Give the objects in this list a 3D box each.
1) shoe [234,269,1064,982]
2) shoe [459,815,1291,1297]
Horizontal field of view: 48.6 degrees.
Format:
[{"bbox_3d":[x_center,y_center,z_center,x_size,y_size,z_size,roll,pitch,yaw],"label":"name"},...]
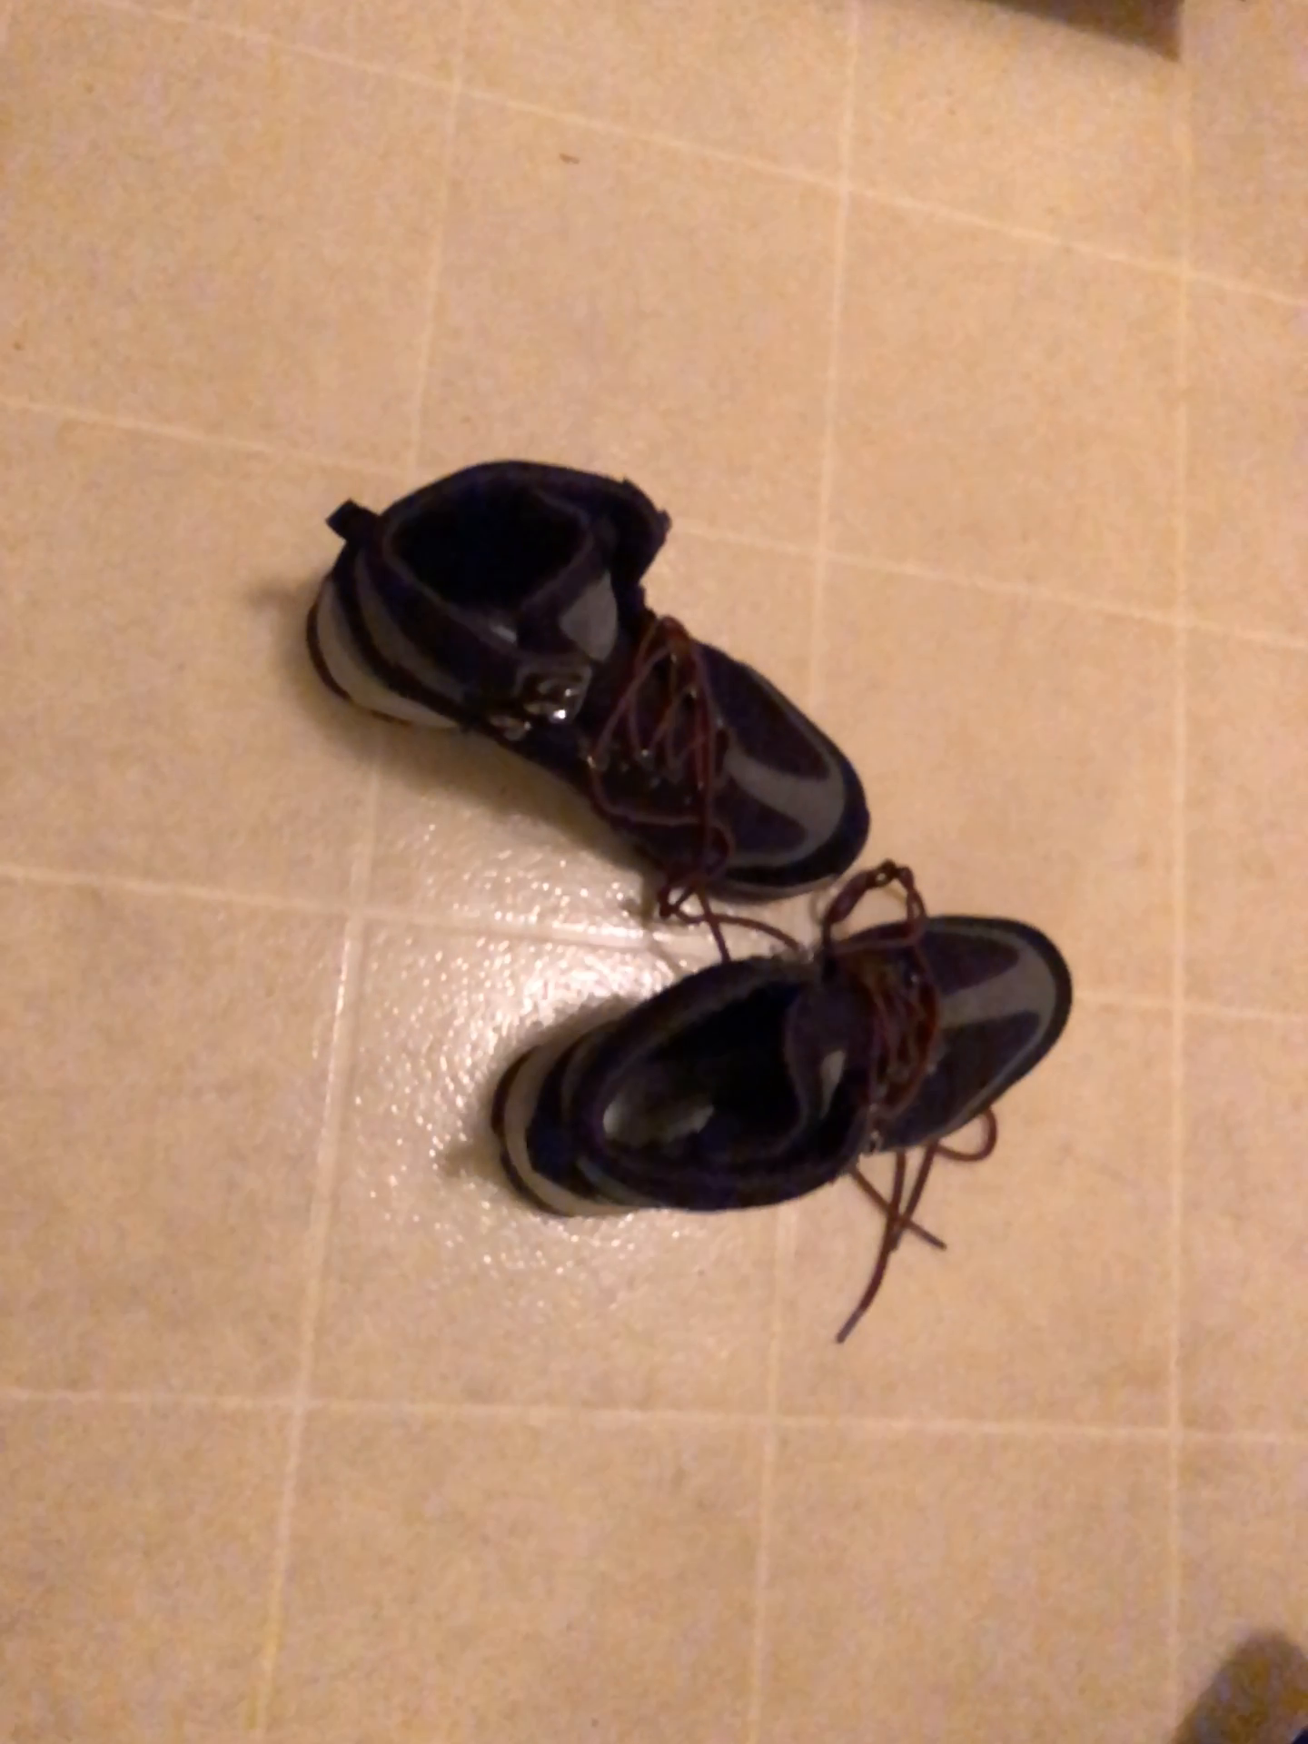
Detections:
[{"bbox_3d":[-0.015,-0.087,0.656,0.309,0.196,0.126,29,74,-8],"label":"shoe"},{"bbox_3d":[0.084,0.079,0.653,0.299,0.196,0.116,-12,84,-17],"label":"shoe"}]
